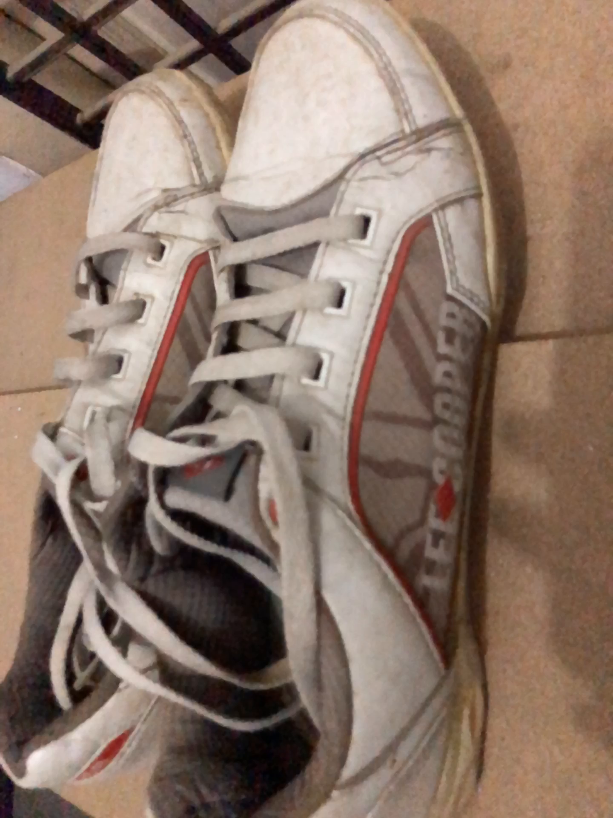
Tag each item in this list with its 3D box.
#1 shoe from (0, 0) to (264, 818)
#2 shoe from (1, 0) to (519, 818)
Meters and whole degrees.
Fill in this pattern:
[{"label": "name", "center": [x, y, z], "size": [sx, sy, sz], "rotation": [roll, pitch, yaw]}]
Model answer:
[{"label": "shoe", "center": [-0.092, -0.015, 0.260], "size": [0.100, 0.080, 0.270], "rotation": [-3, 78, 35]}, {"label": "shoe", "center": [-0.003, -0.012, 0.196], "size": [0.100, 0.080, 0.270], "rotation": [-3, 78, 35]}]
